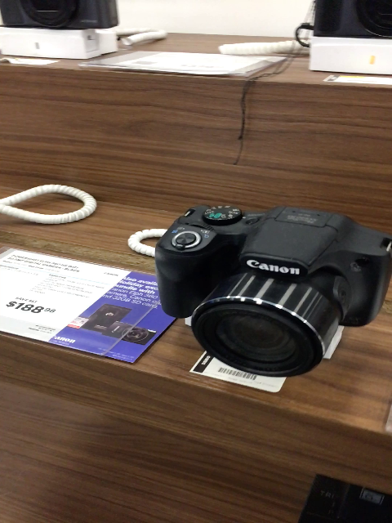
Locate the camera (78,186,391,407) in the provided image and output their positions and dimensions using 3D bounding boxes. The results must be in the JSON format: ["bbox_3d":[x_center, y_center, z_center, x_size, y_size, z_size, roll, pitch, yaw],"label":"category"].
[{"bbox_3d":[0.026,0.013,0.300,0.134,0.075,0.090,13,36,22],"label":"camera"}]
